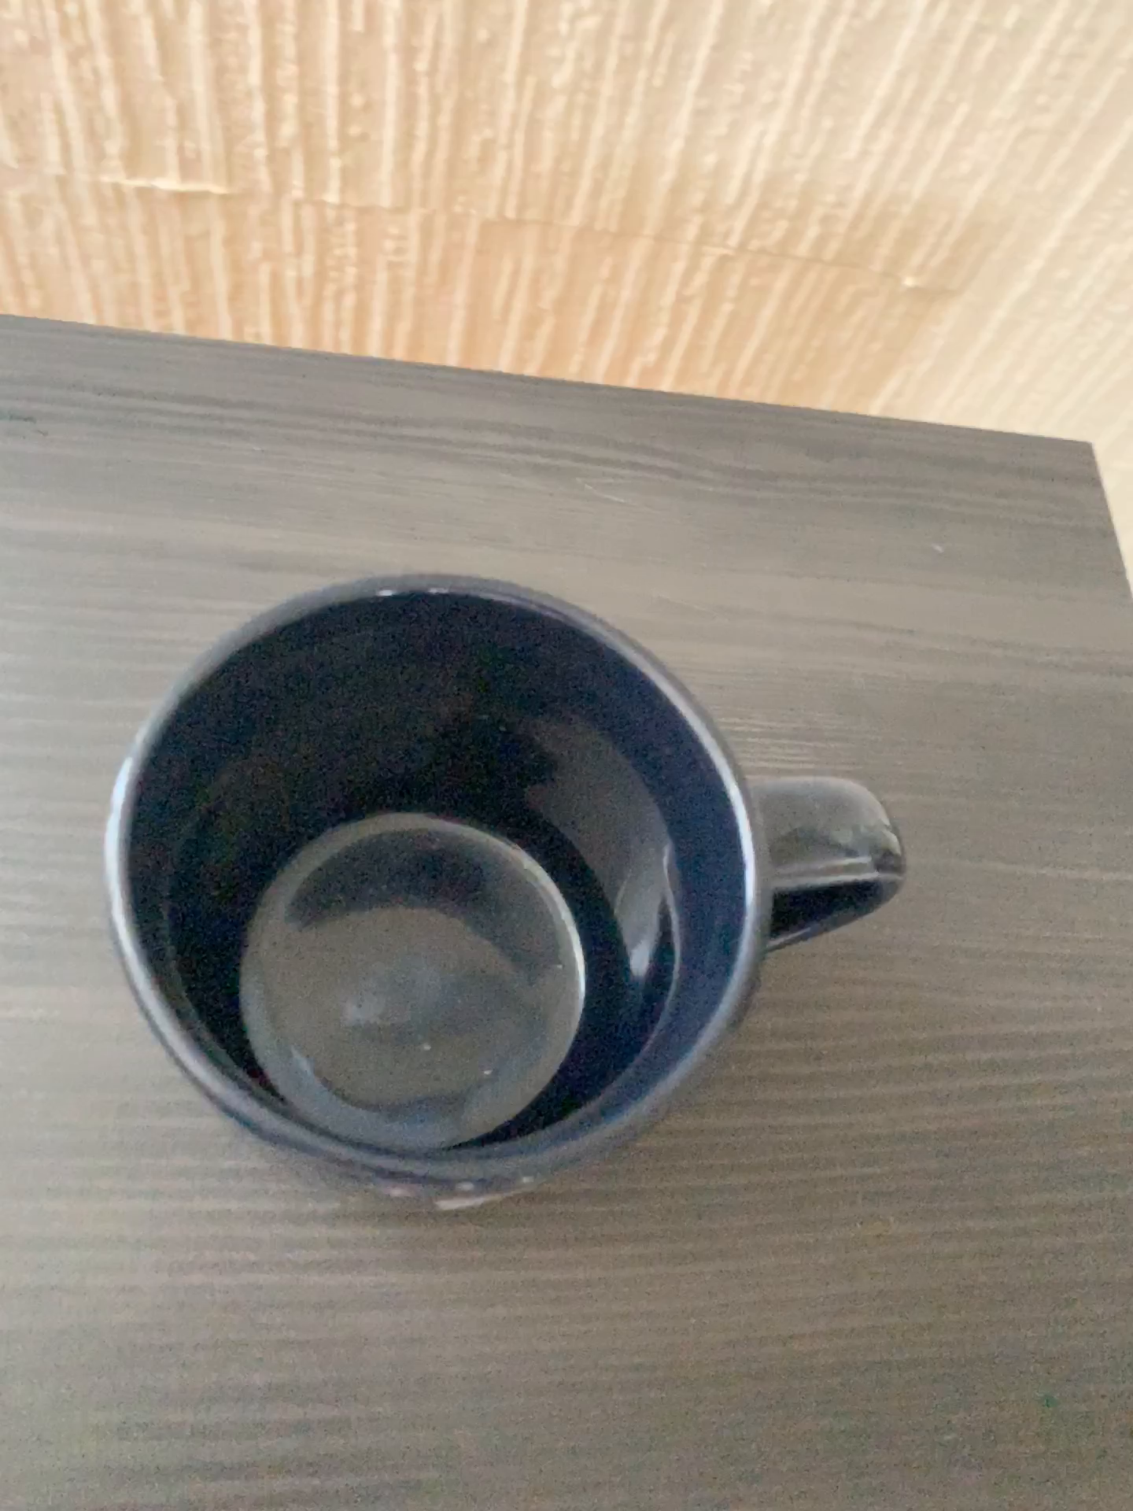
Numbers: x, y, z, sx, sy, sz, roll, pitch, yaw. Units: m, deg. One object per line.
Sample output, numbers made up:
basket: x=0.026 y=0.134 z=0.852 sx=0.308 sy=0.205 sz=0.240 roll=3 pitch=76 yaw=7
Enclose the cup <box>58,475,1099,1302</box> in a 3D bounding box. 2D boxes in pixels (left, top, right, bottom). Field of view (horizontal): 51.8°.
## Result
cup: x=-0.005 y=0.020 z=0.197 sx=0.130 sy=0.070 sz=0.100 roll=-9 pitch=67 yaw=-16
